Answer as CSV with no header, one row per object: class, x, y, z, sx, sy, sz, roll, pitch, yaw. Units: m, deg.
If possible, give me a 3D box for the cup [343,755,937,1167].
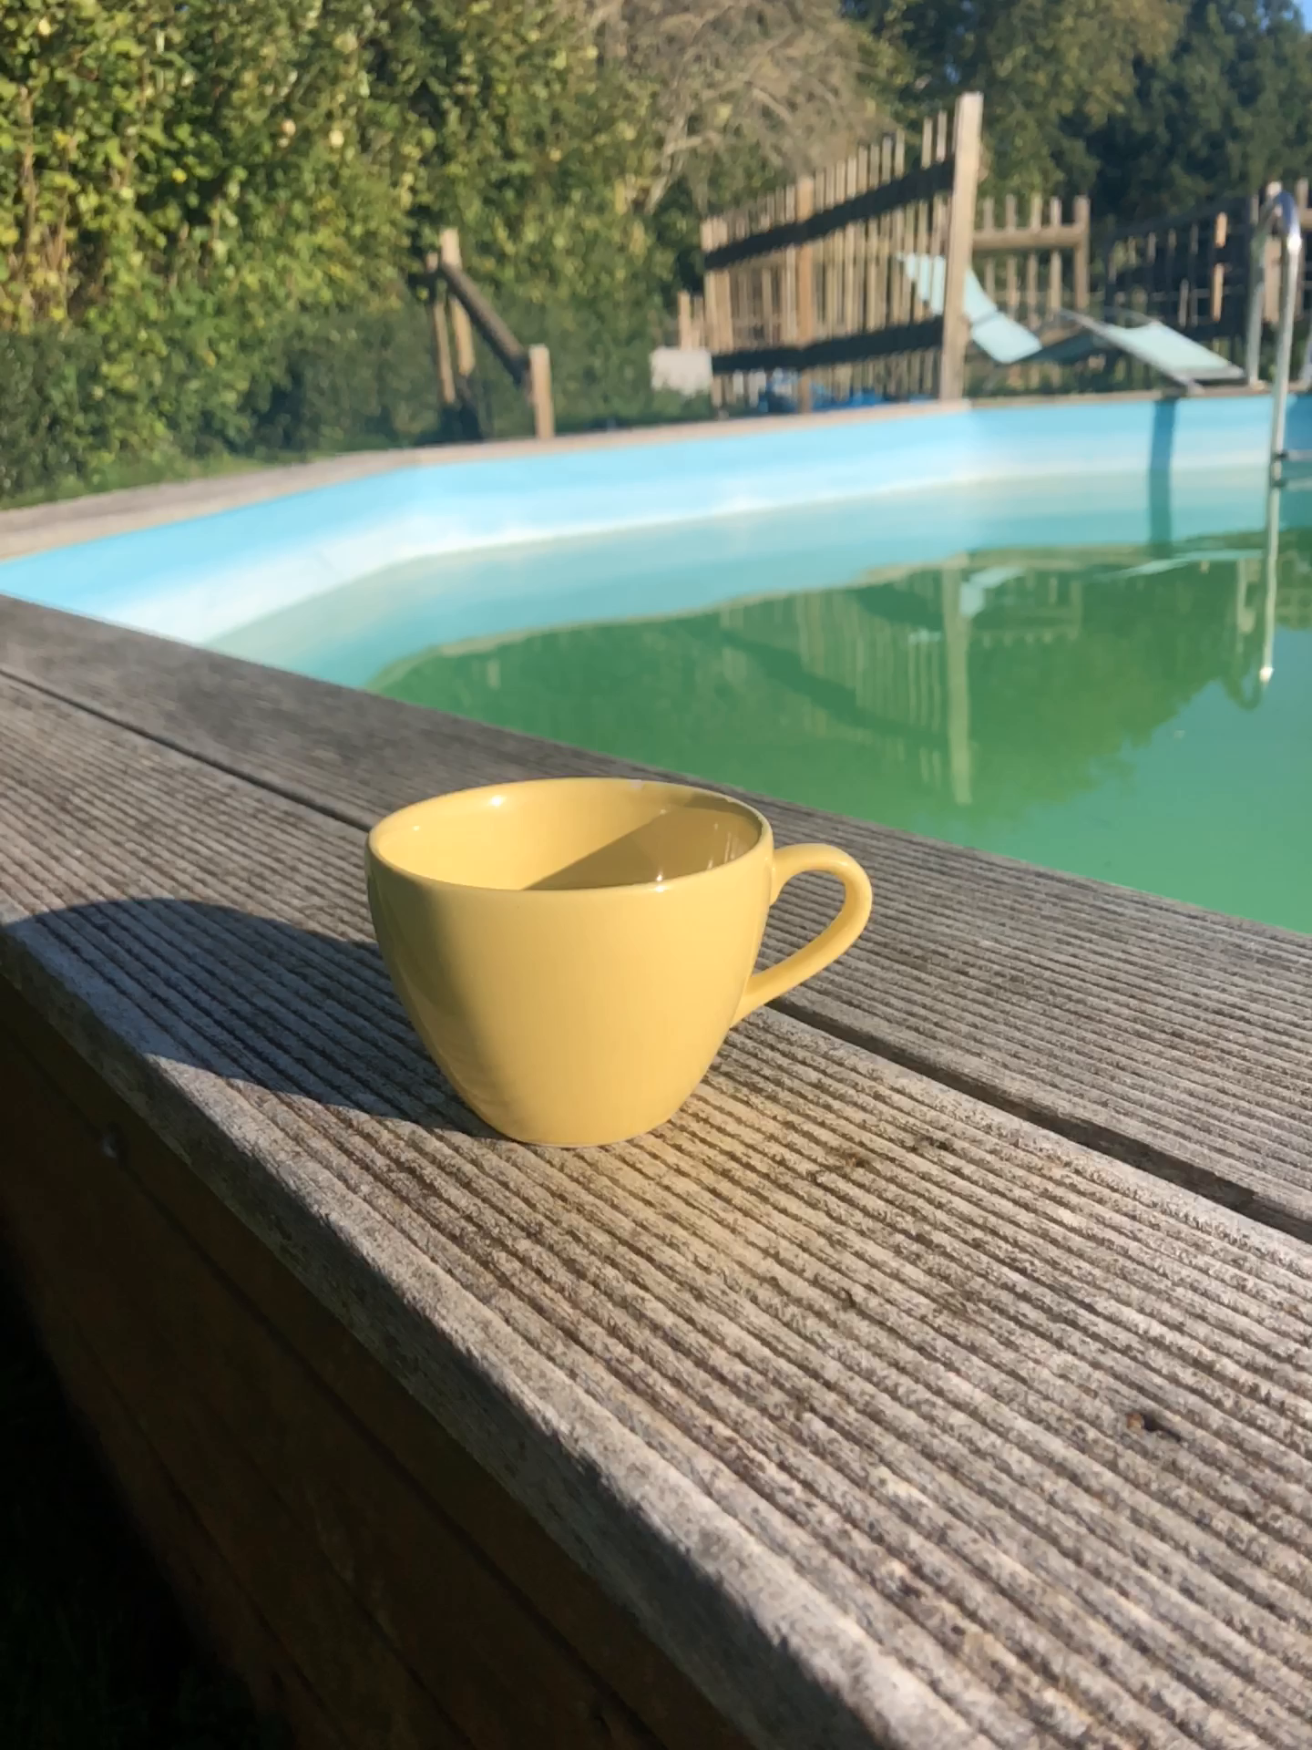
cup,-0.007,0.013,0.320,0.112,0.053,0.089,-4,18,-8
